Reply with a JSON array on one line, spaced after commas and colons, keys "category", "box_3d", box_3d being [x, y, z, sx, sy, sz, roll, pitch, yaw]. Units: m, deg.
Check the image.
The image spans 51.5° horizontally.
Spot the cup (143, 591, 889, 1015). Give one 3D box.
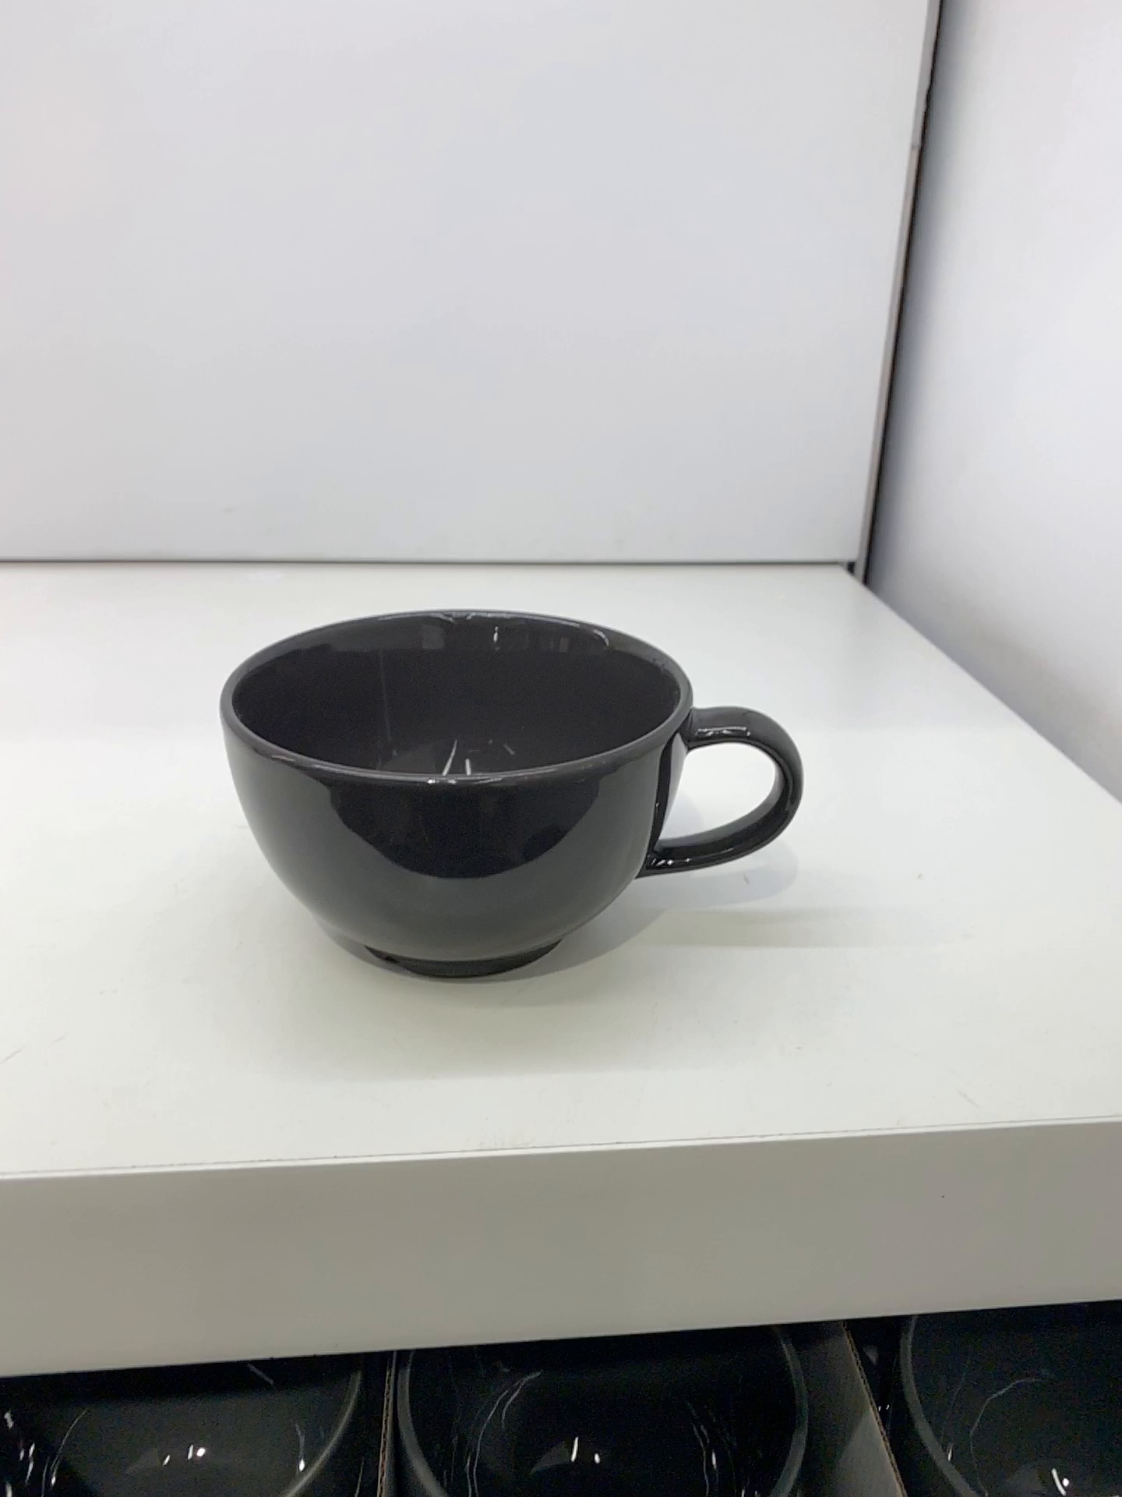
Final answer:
[{"category": "cup", "box_3d": [-0.009, 0.005, 0.263, 0.130, 0.050, 0.110, 1, 23, -1]}]
